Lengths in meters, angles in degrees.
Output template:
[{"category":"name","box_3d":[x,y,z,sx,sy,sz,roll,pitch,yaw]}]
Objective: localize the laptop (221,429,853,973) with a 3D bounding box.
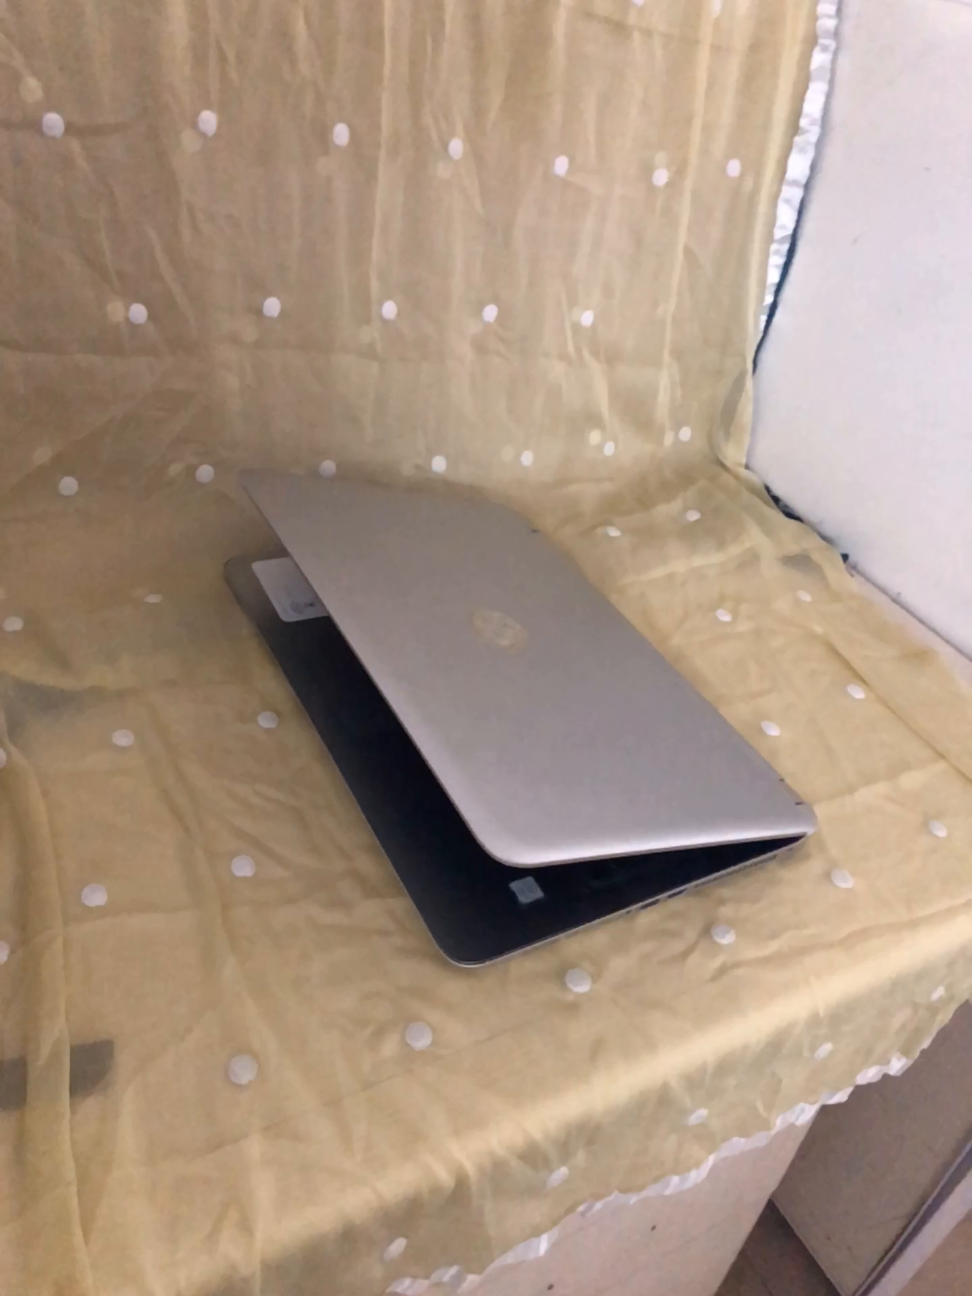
[{"category":"laptop","box_3d":[0.009,-0.006,0.678,0.244,0.077,0.367,-12,43,-28]}]
